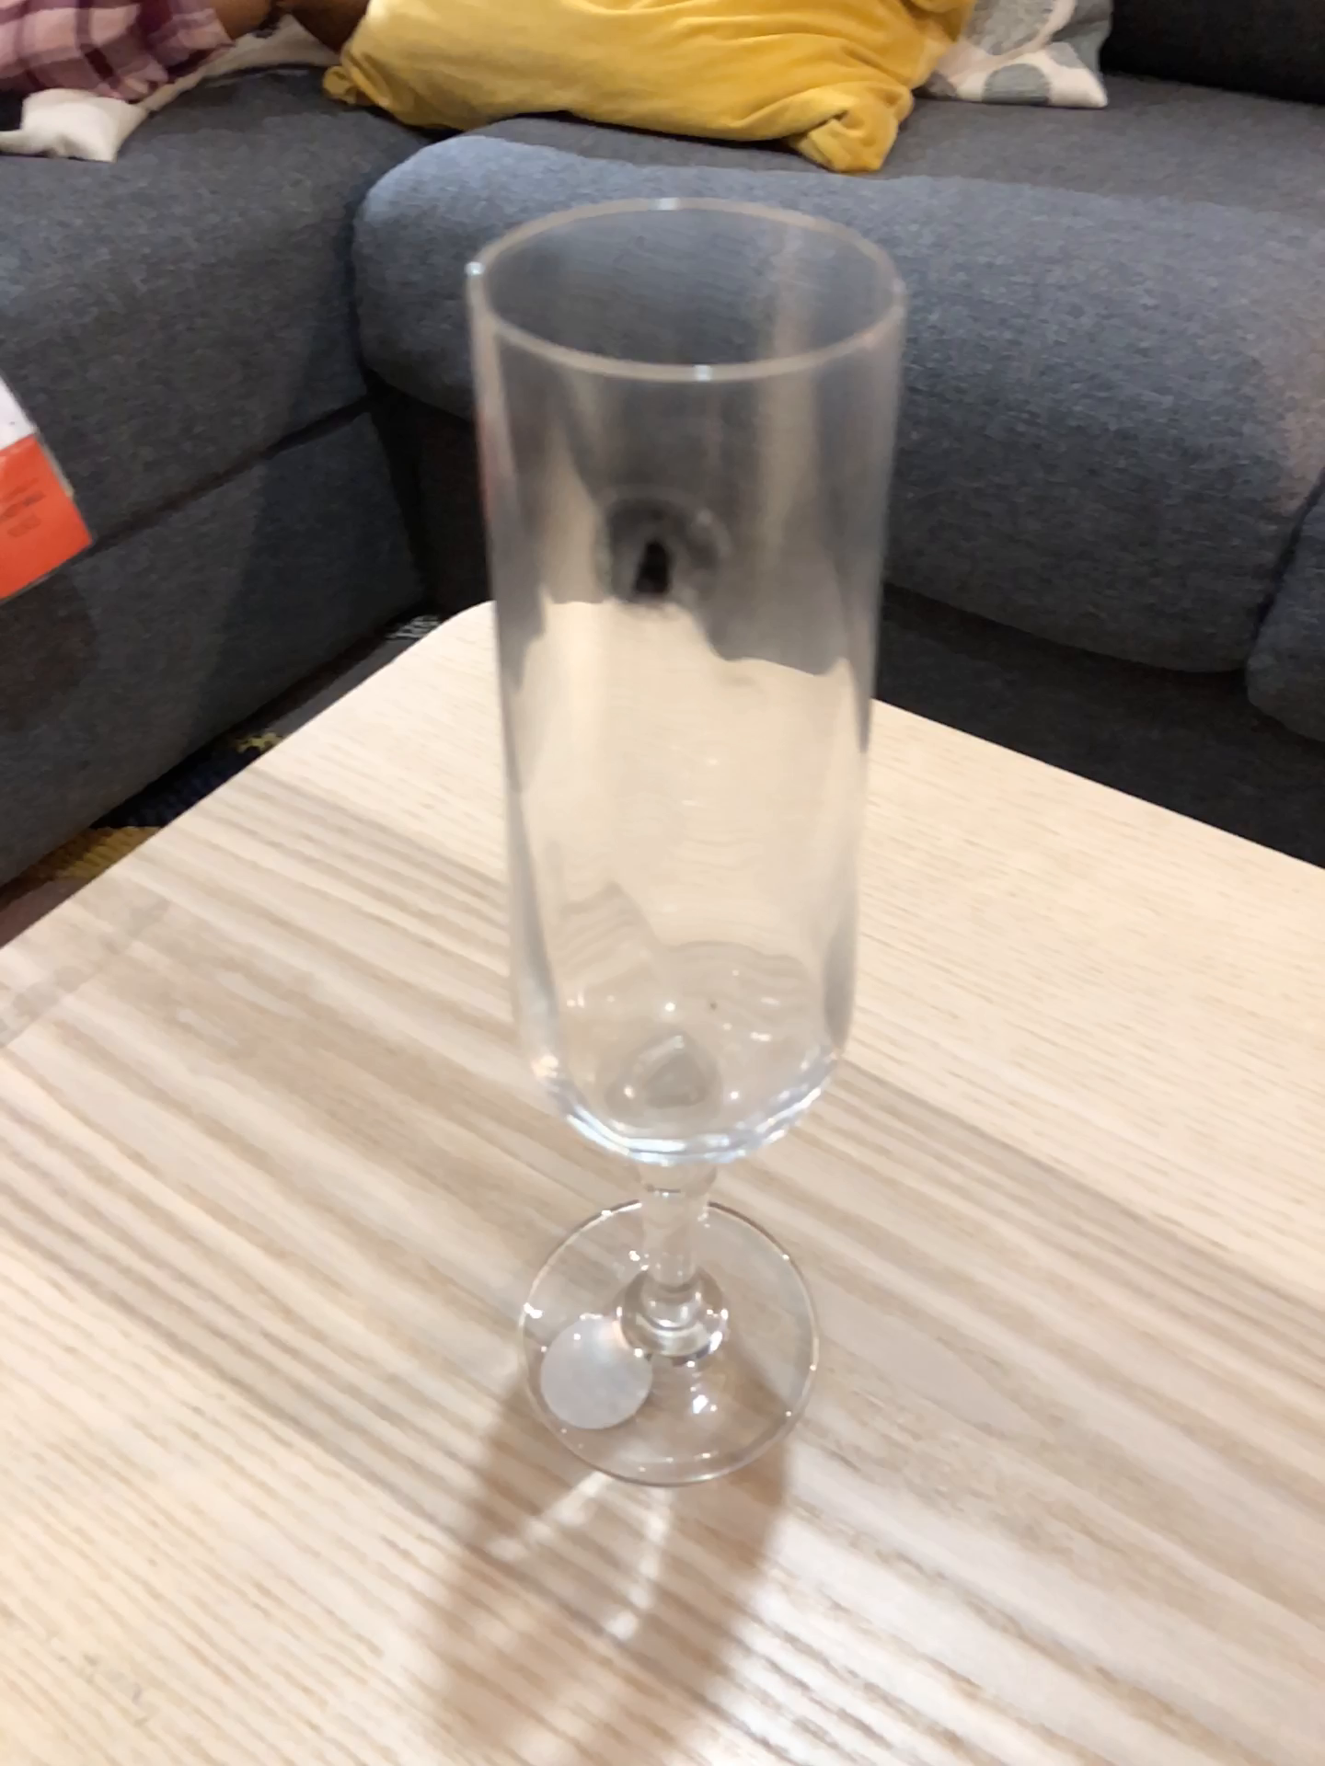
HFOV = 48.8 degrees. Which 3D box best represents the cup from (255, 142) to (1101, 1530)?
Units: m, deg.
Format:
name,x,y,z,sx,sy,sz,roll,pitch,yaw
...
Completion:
name,x,y,z,sx,sy,sz,roll,pitch,yaw
cup,-0.002,0.016,0.249,0.080,0.239,0.080,0,44,0
